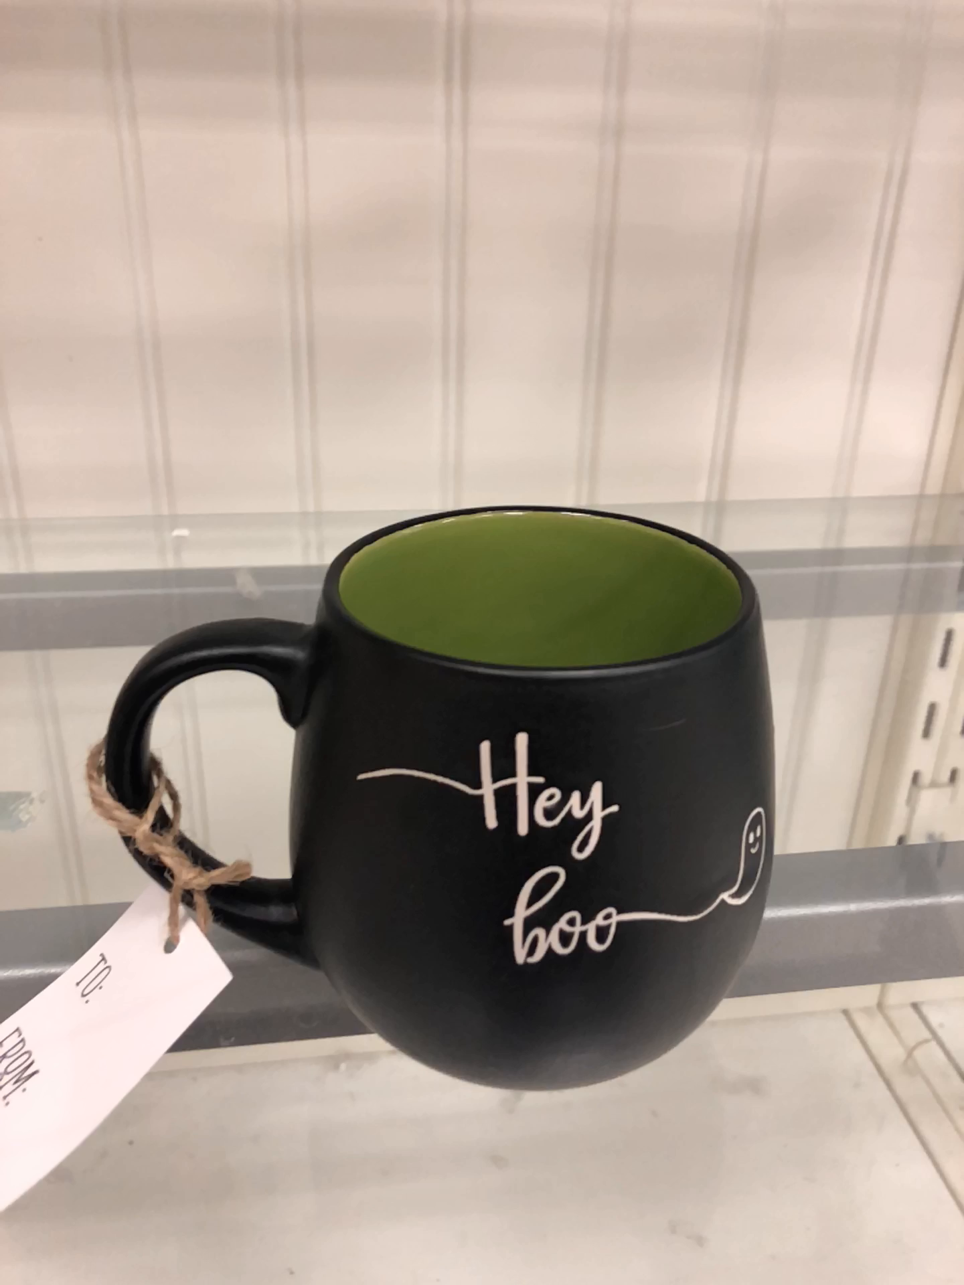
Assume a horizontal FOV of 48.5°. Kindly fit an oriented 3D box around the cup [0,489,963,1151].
[{"bbox_3d":[-0.002,0.027,0.219,0.149,0.089,0.091,-2,25,-7],"label":"cup"}]
